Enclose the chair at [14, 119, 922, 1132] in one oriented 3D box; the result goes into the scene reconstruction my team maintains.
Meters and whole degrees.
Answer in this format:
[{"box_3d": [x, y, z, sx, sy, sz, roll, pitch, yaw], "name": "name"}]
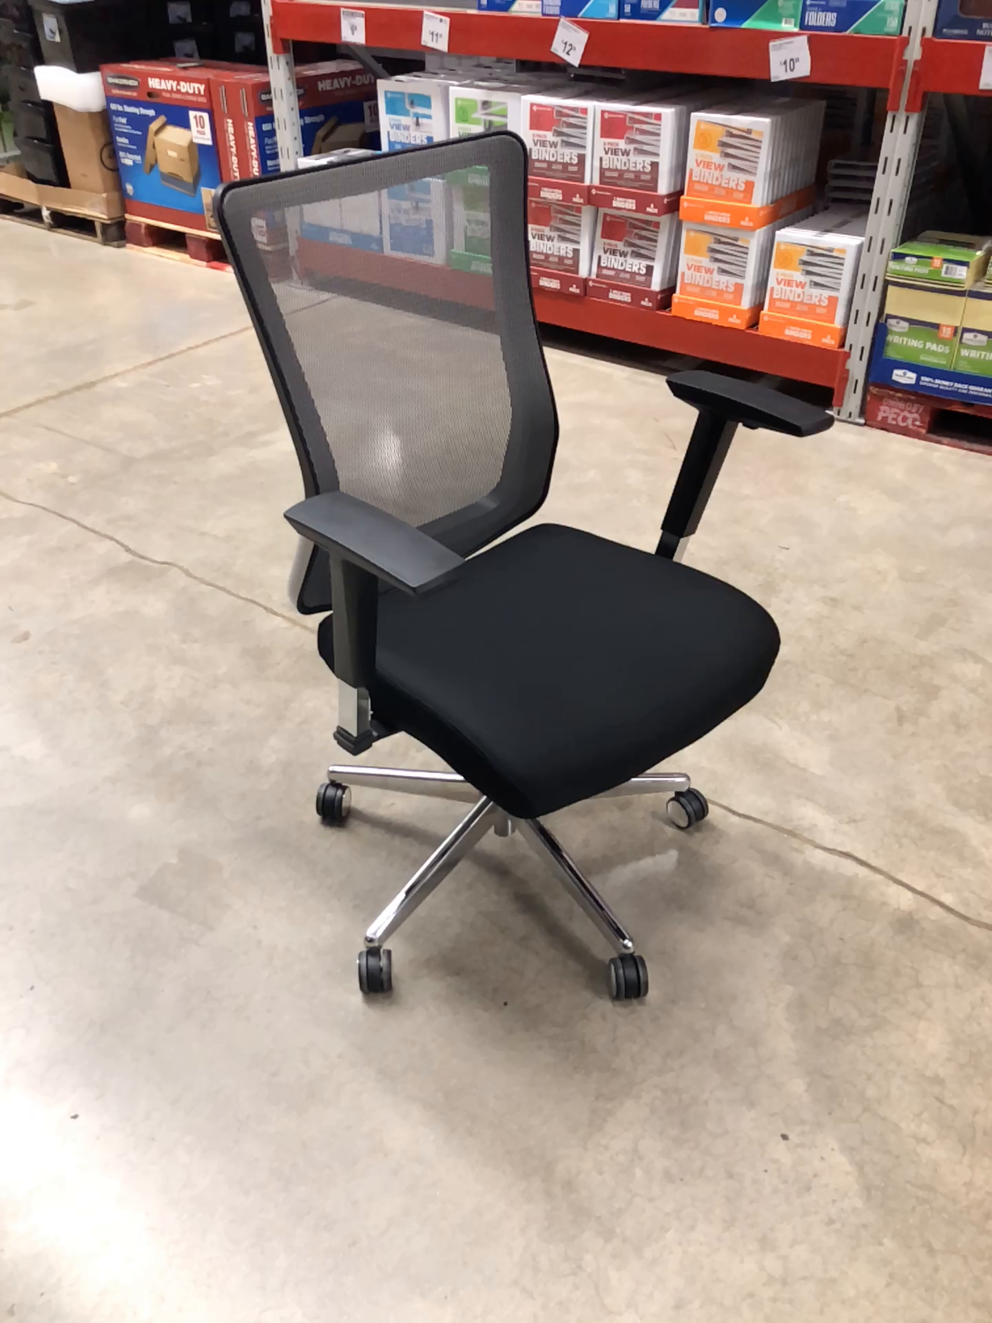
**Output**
[{"box_3d": [-0.013, -0.107, 1.463, 0.711, 0.987, 0.691, 25, 42, 32], "name": "chair"}]
